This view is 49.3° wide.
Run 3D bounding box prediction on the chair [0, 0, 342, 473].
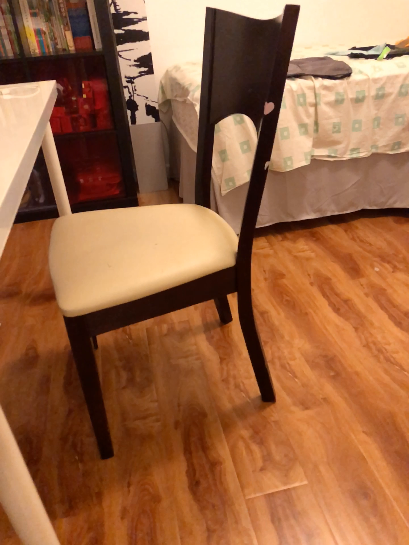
[{"bbox_3d":[-0.104,-0.112,1.025,0.510,0.845,0.533,-11,31,-15],"label":"chair"}]
